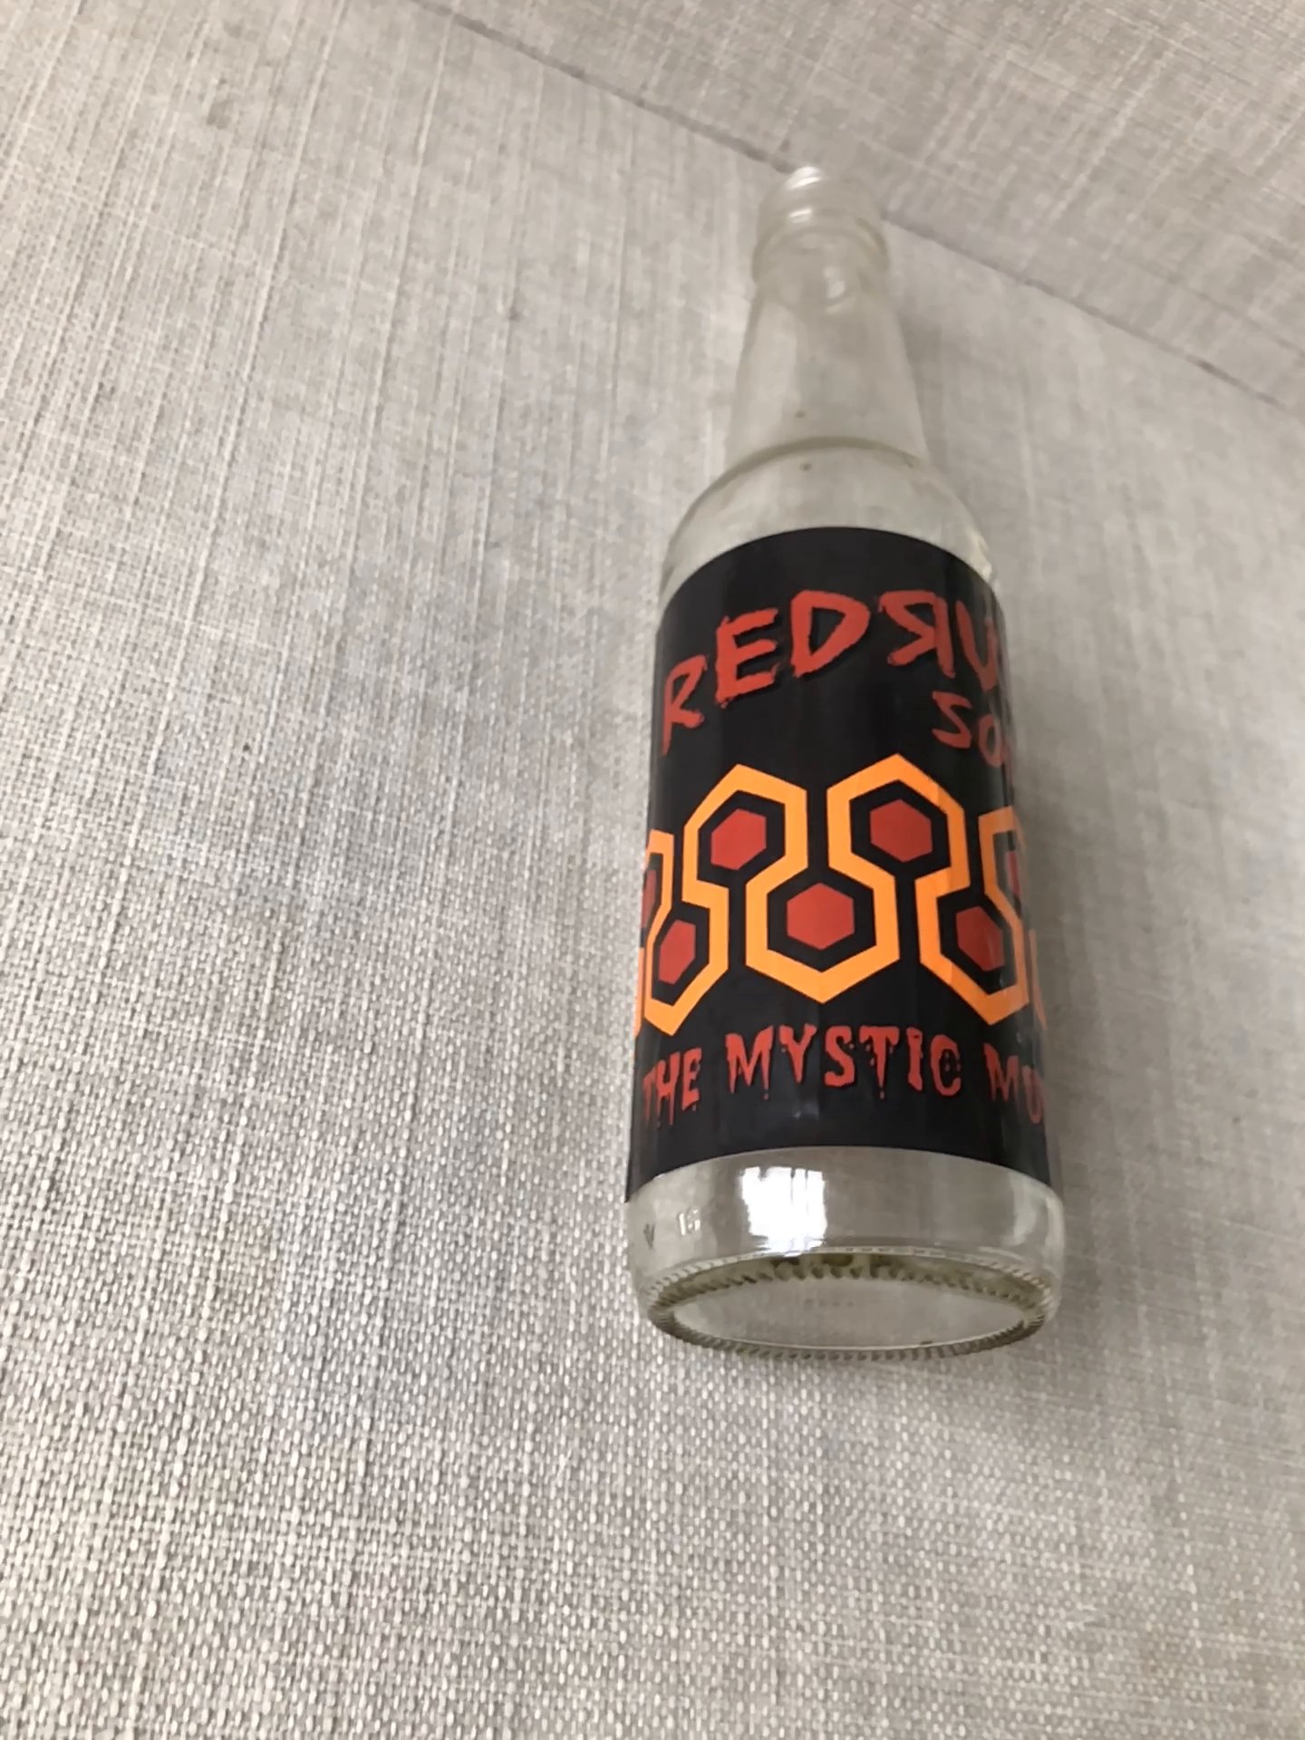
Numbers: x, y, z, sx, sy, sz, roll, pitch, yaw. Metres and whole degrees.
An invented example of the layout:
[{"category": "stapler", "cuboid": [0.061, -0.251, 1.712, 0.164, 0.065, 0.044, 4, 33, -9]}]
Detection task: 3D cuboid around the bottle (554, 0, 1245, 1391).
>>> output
[{"category": "bottle", "cuboid": [0.033, -0.041, 0.246, 0.063, 0.069, 0.231, 13, 60, -18]}]
